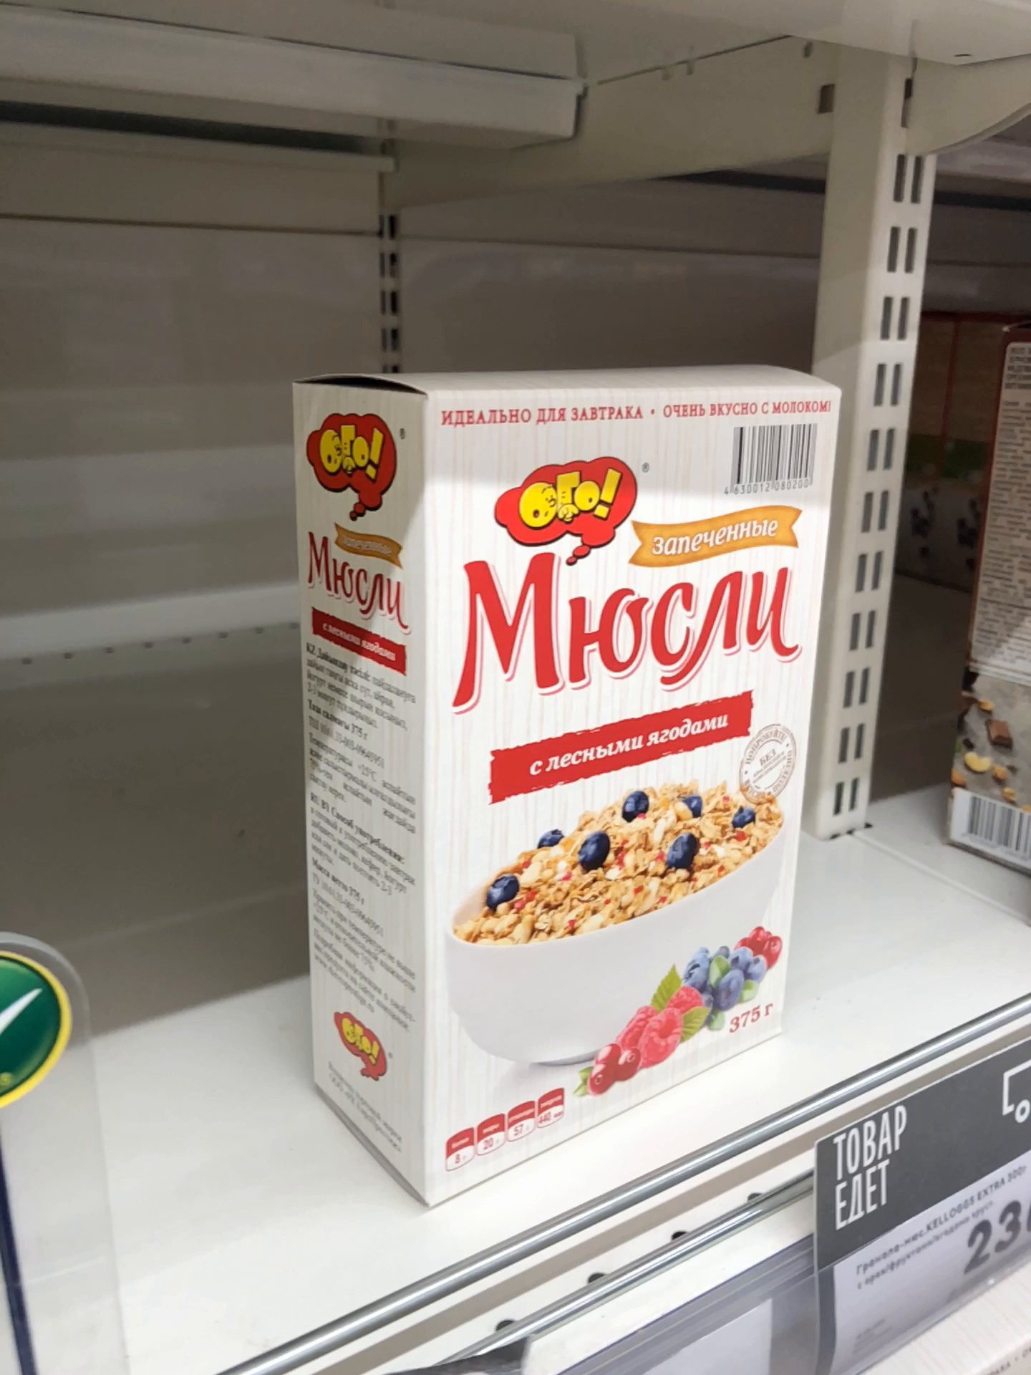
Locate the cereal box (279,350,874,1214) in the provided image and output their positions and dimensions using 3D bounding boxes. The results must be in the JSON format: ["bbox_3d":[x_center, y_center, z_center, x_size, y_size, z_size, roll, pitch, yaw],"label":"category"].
[{"bbox_3d":[0.018,0.013,0.313,0.140,0.199,0.060,-12,21,-34],"label":"cereal box"}]
